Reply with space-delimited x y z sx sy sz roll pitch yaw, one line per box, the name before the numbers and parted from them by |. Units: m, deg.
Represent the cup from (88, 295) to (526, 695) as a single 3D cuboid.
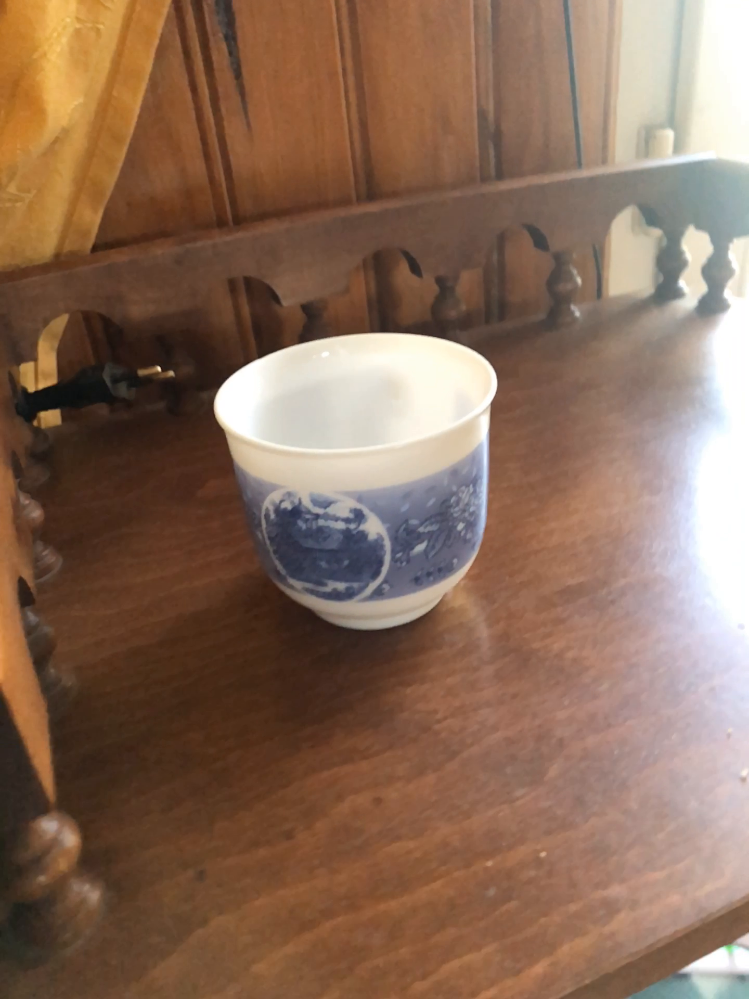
cup | -0.007 -0.010 0.229 0.080 0.060 0.101 6 33 19
